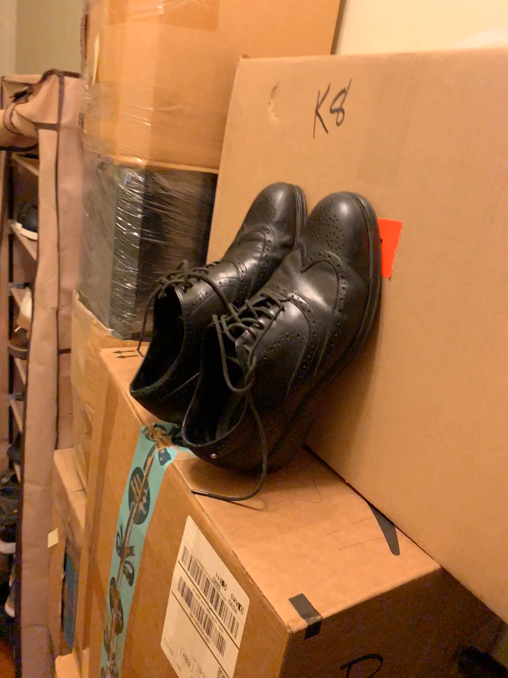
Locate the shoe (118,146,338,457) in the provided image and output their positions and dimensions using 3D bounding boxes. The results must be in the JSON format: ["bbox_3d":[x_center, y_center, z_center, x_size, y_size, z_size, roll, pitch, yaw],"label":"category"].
[{"bbox_3d":[-0.030,-0.038,0.540,0.100,0.280,0.120,16,2,-41],"label":"shoe"}]

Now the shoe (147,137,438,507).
[{"bbox_3d":[0.023,-0.011,0.456,0.100,0.279,0.121,14,14,-39],"label":"shoe"}]
